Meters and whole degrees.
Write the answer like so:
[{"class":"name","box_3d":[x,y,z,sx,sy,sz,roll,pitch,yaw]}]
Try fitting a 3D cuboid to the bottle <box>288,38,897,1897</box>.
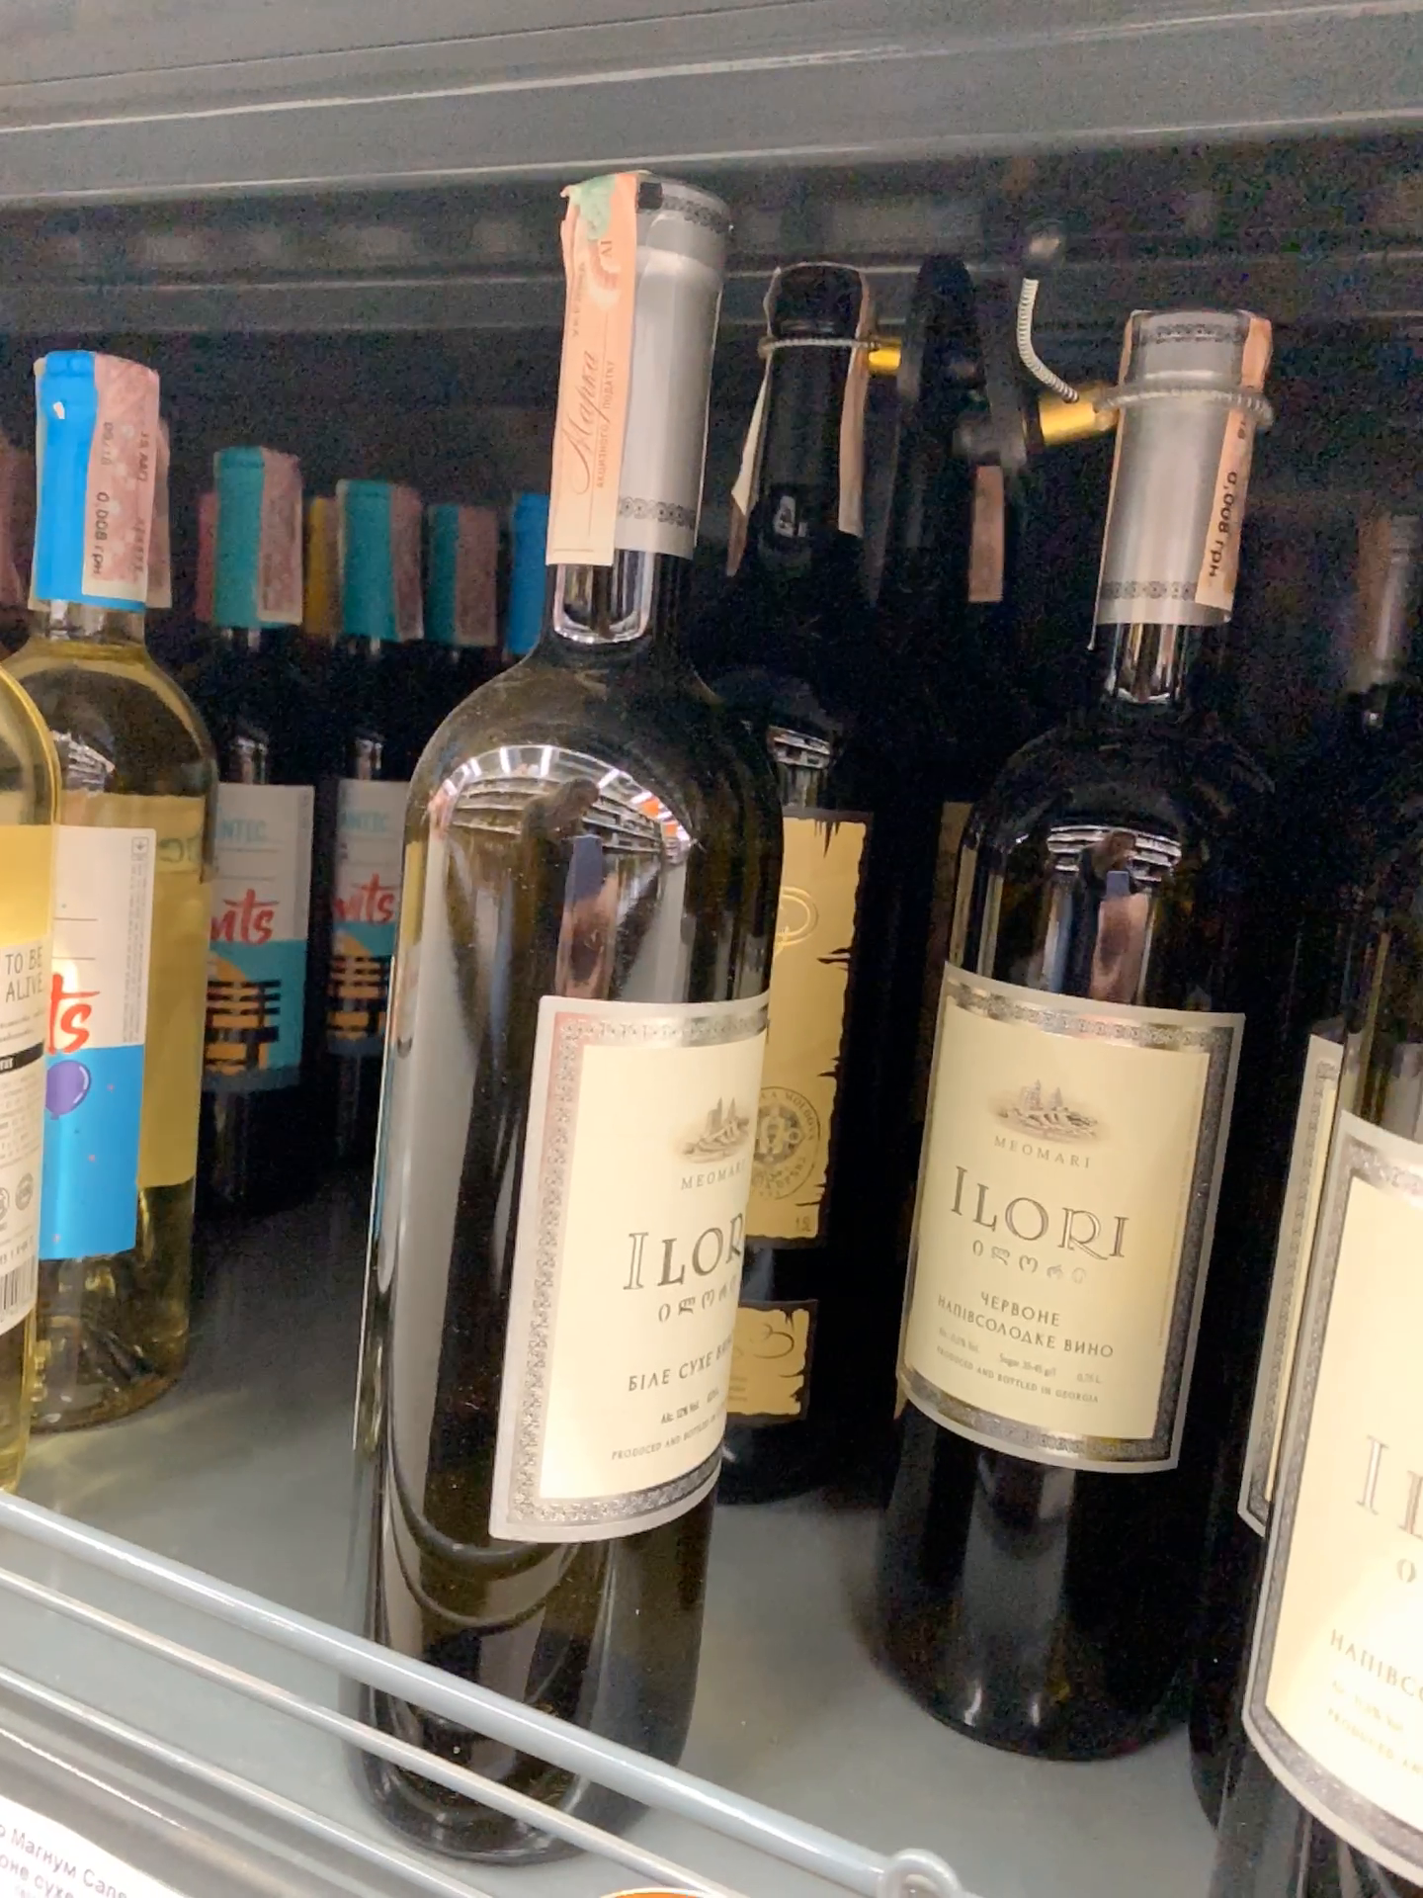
[{"class":"bottle","box_3d":[-0.026,0.012,0.291,0.069,0.319,0.070,5,9,-1]}]
